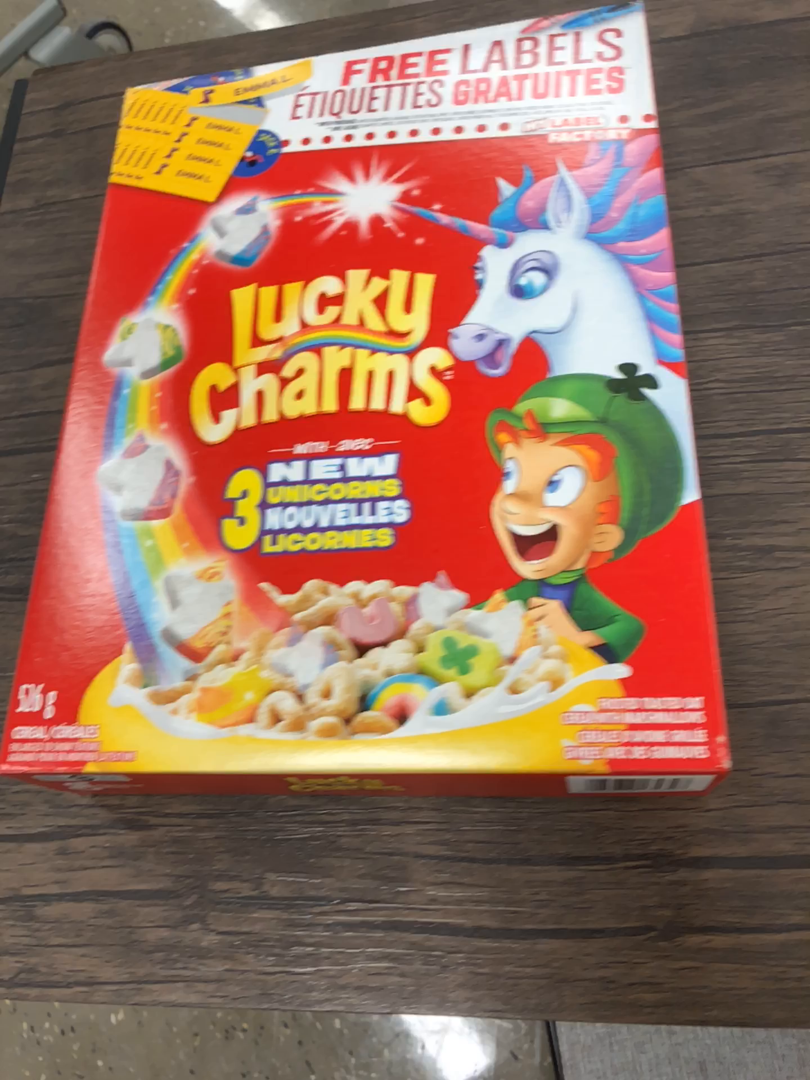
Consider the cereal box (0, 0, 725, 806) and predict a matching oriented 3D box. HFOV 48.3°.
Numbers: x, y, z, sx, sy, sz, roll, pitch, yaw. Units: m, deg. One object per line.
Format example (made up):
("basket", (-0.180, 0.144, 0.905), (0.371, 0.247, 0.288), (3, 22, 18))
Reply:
("cereal box", (-0.013, -0.067, 0.371), (0.230, 0.080, 0.330), (-3, 66, 11))
